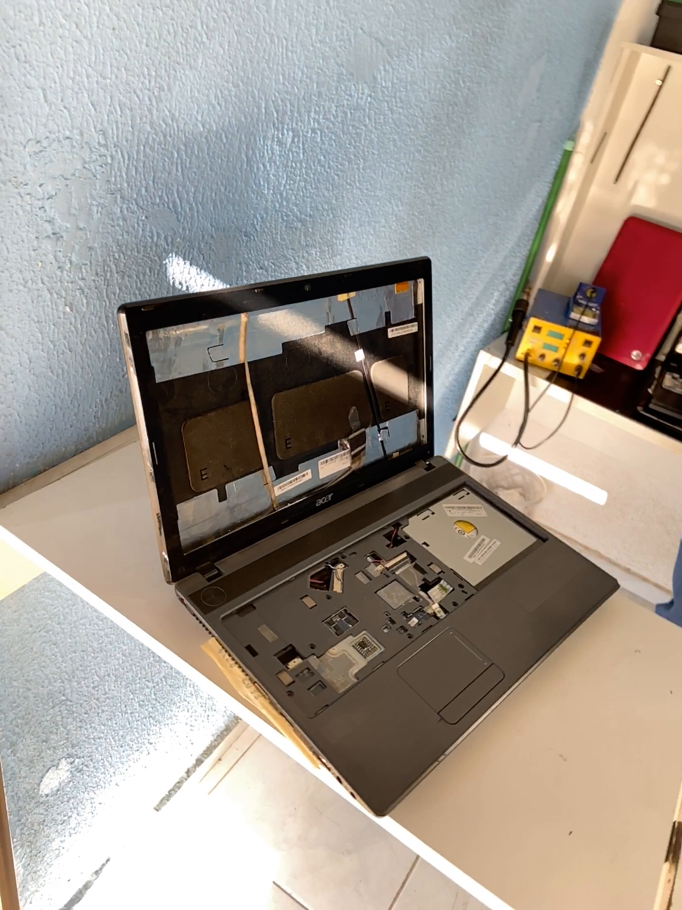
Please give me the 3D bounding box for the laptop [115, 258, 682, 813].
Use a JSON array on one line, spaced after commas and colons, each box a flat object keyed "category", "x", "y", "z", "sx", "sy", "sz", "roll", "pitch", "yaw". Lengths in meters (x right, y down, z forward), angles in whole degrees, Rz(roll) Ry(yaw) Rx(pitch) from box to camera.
[{"category": "laptop", "x": 0.061, "y": 0.011, "z": 0.630, "sx": 0.380, "sy": 0.210, "sz": 0.350, "roll": -22, "pitch": 48, "yaw": -41}]
